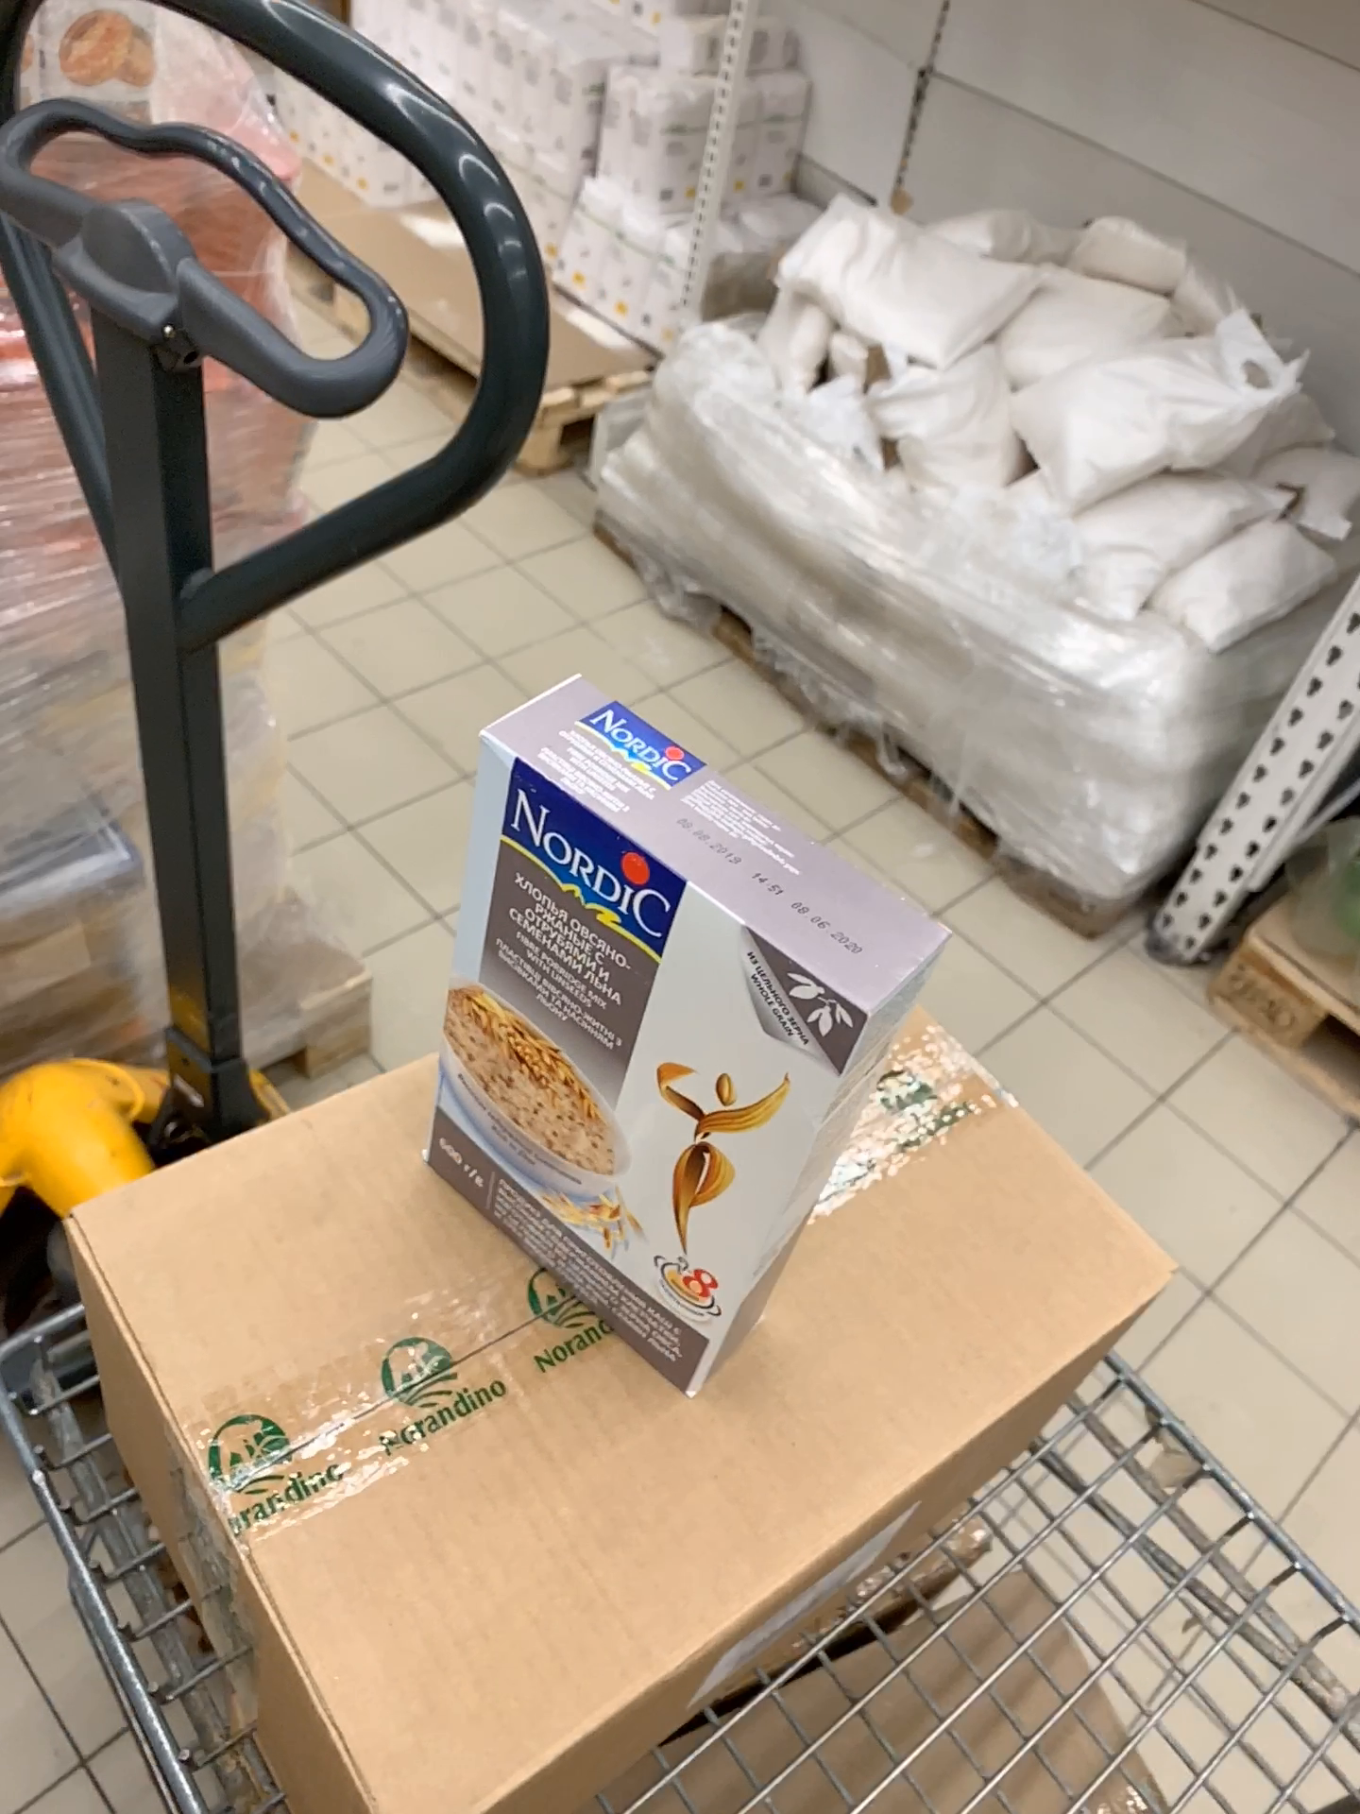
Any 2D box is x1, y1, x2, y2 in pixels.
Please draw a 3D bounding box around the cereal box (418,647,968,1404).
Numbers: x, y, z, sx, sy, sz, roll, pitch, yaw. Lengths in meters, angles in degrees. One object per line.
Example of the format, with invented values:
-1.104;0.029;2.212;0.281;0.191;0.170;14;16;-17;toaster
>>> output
-0.014;0.053;0.486;0.150;0.239;0.050;36;49;19;cereal box
